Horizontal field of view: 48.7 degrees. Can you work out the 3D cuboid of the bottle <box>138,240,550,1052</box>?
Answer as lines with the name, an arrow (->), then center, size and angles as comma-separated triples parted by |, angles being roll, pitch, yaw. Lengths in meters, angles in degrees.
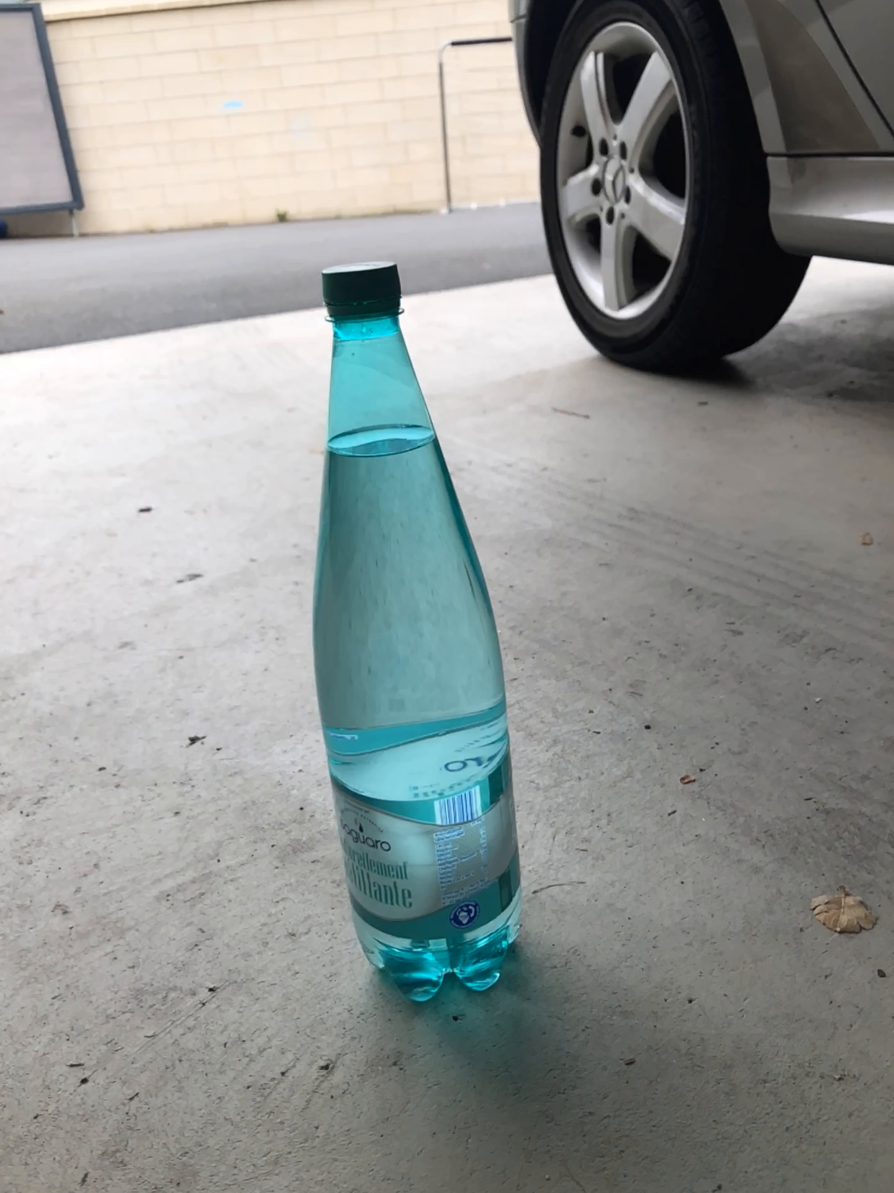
bottle -> -0.031, 0.023, 0.420 | 0.100, 0.318, 0.090 | 17, 32, 40
